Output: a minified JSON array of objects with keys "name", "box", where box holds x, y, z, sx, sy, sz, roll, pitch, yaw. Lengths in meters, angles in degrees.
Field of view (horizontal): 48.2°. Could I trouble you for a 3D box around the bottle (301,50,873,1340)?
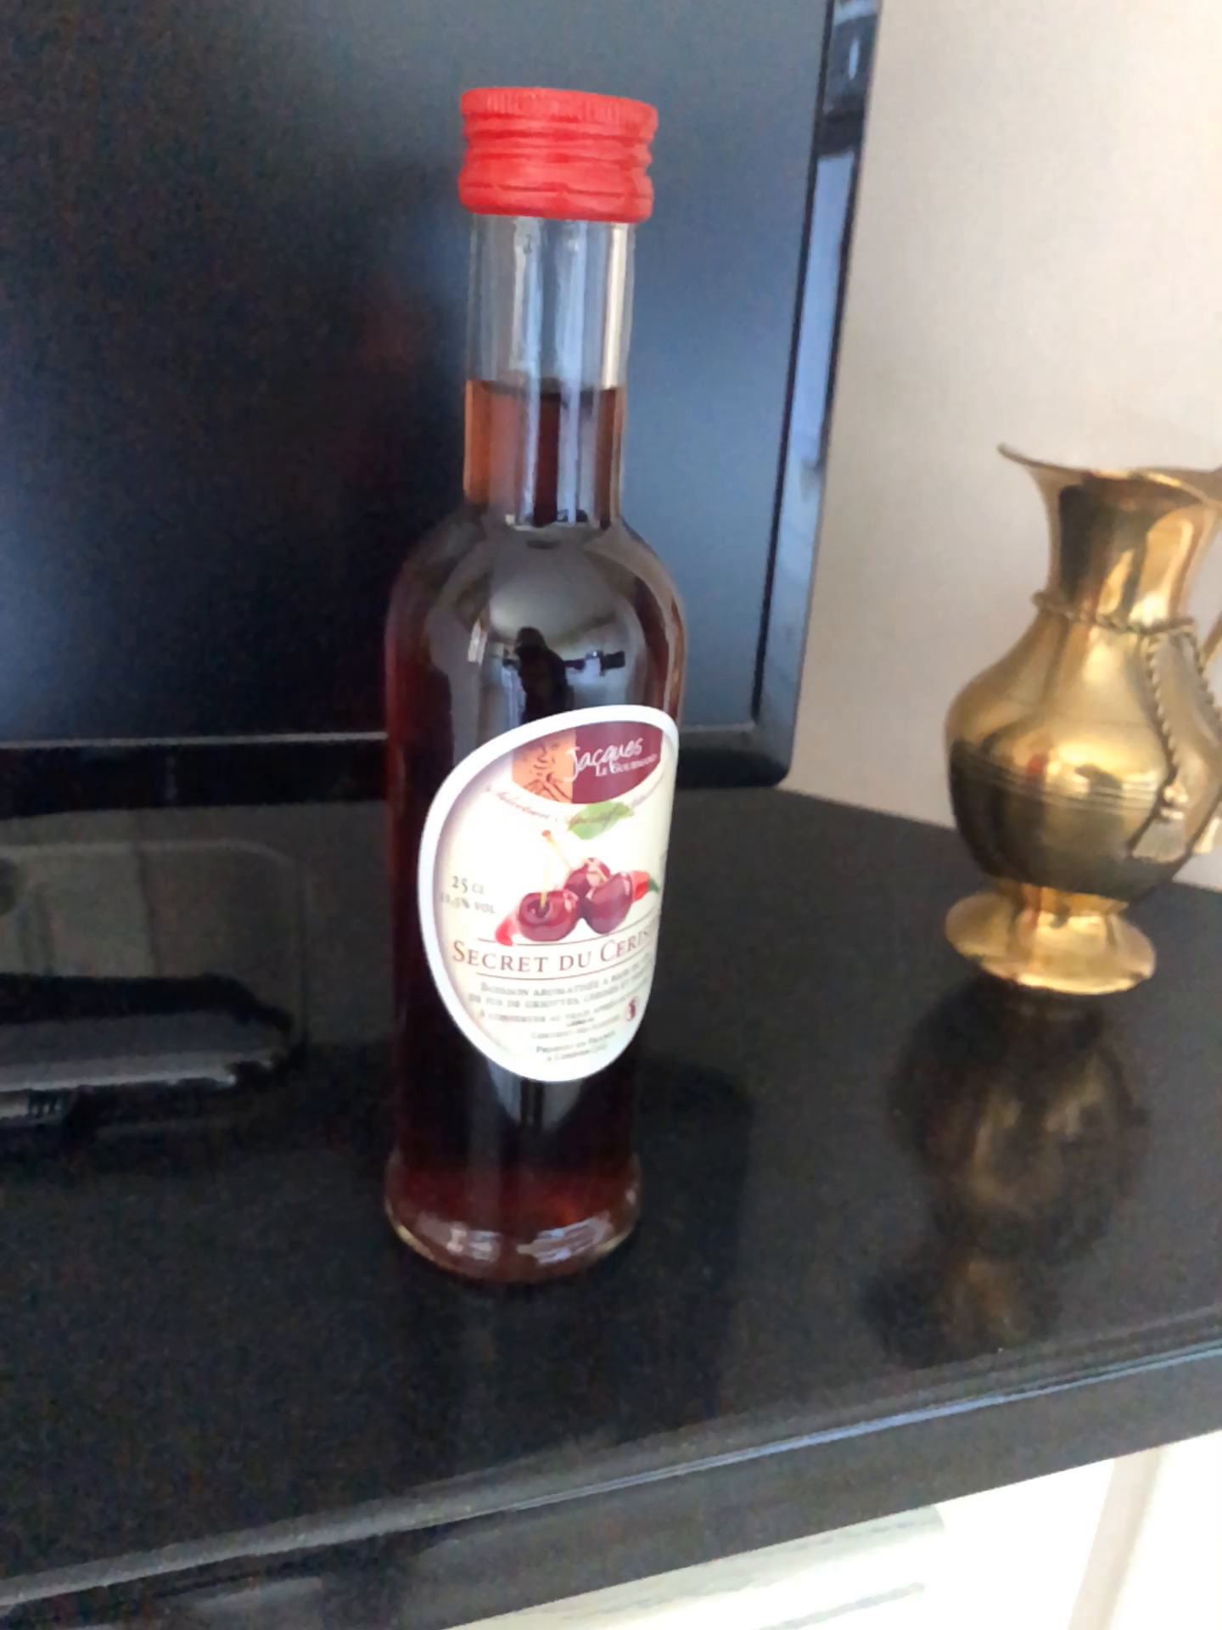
[{"name":"bottle","box":[-0.013,-0.017,0.265,0.070,0.219,0.070,3,23,-1]}]
